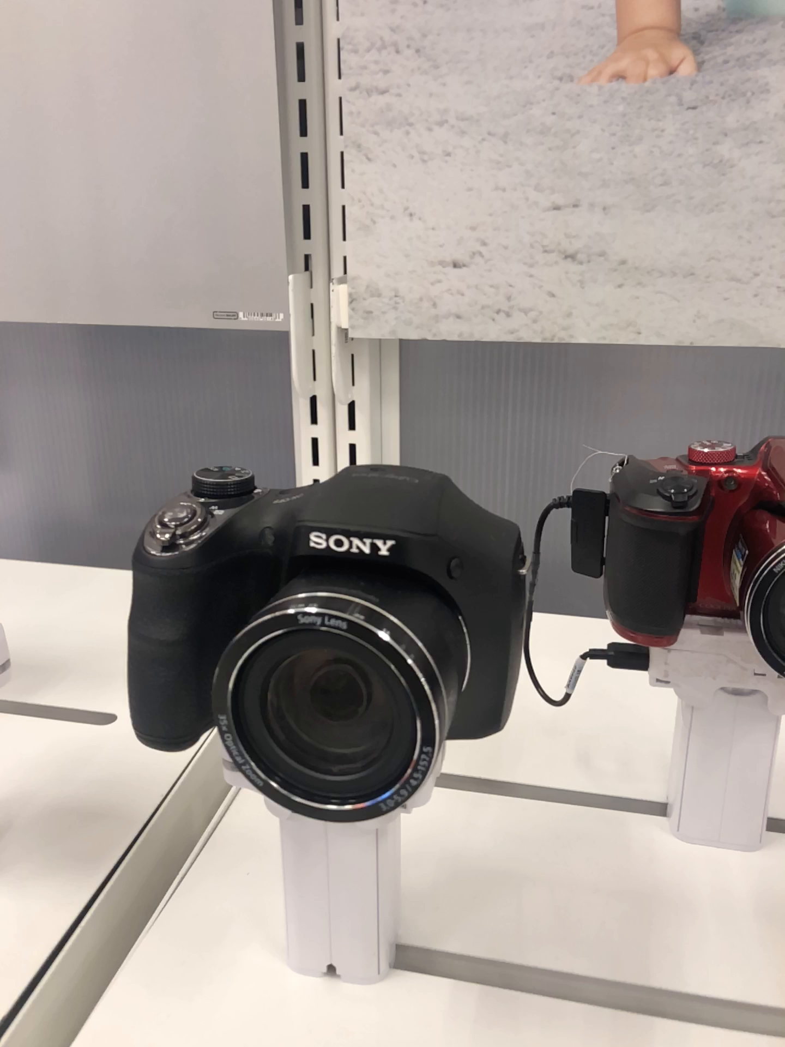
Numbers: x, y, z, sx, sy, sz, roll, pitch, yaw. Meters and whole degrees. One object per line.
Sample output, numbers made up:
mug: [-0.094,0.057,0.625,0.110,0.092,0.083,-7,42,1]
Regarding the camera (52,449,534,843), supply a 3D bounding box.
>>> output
camera: [-0.021,0.029,0.265,0.119,0.076,0.087,4,21,11]
